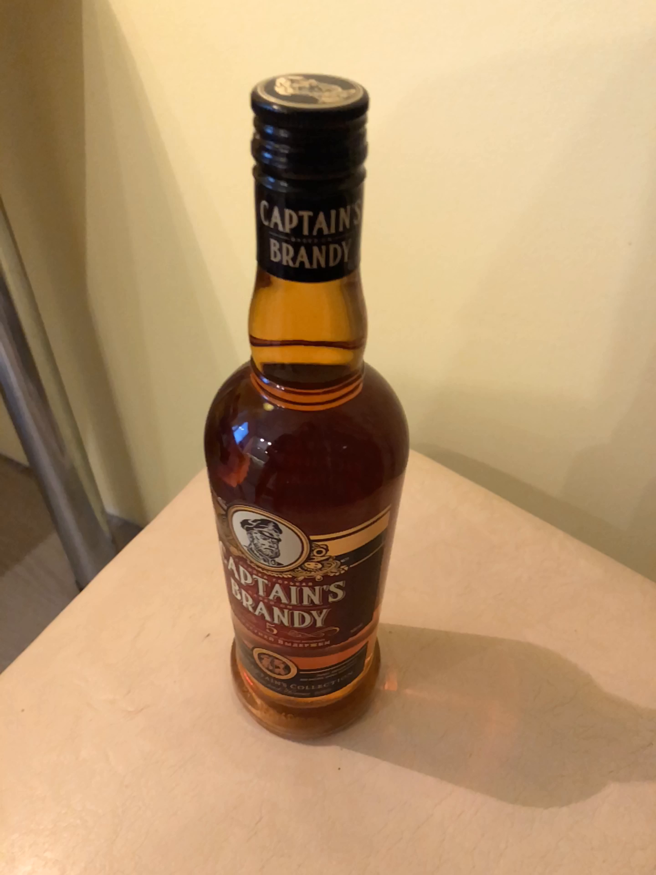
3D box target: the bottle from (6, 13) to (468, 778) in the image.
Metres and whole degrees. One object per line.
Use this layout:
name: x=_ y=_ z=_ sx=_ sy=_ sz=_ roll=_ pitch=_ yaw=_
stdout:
bottle: x=-0.015 y=0.012 z=0.249 sx=0.080 sy=0.258 sz=0.070 roll=16 pitch=44 yaw=17
